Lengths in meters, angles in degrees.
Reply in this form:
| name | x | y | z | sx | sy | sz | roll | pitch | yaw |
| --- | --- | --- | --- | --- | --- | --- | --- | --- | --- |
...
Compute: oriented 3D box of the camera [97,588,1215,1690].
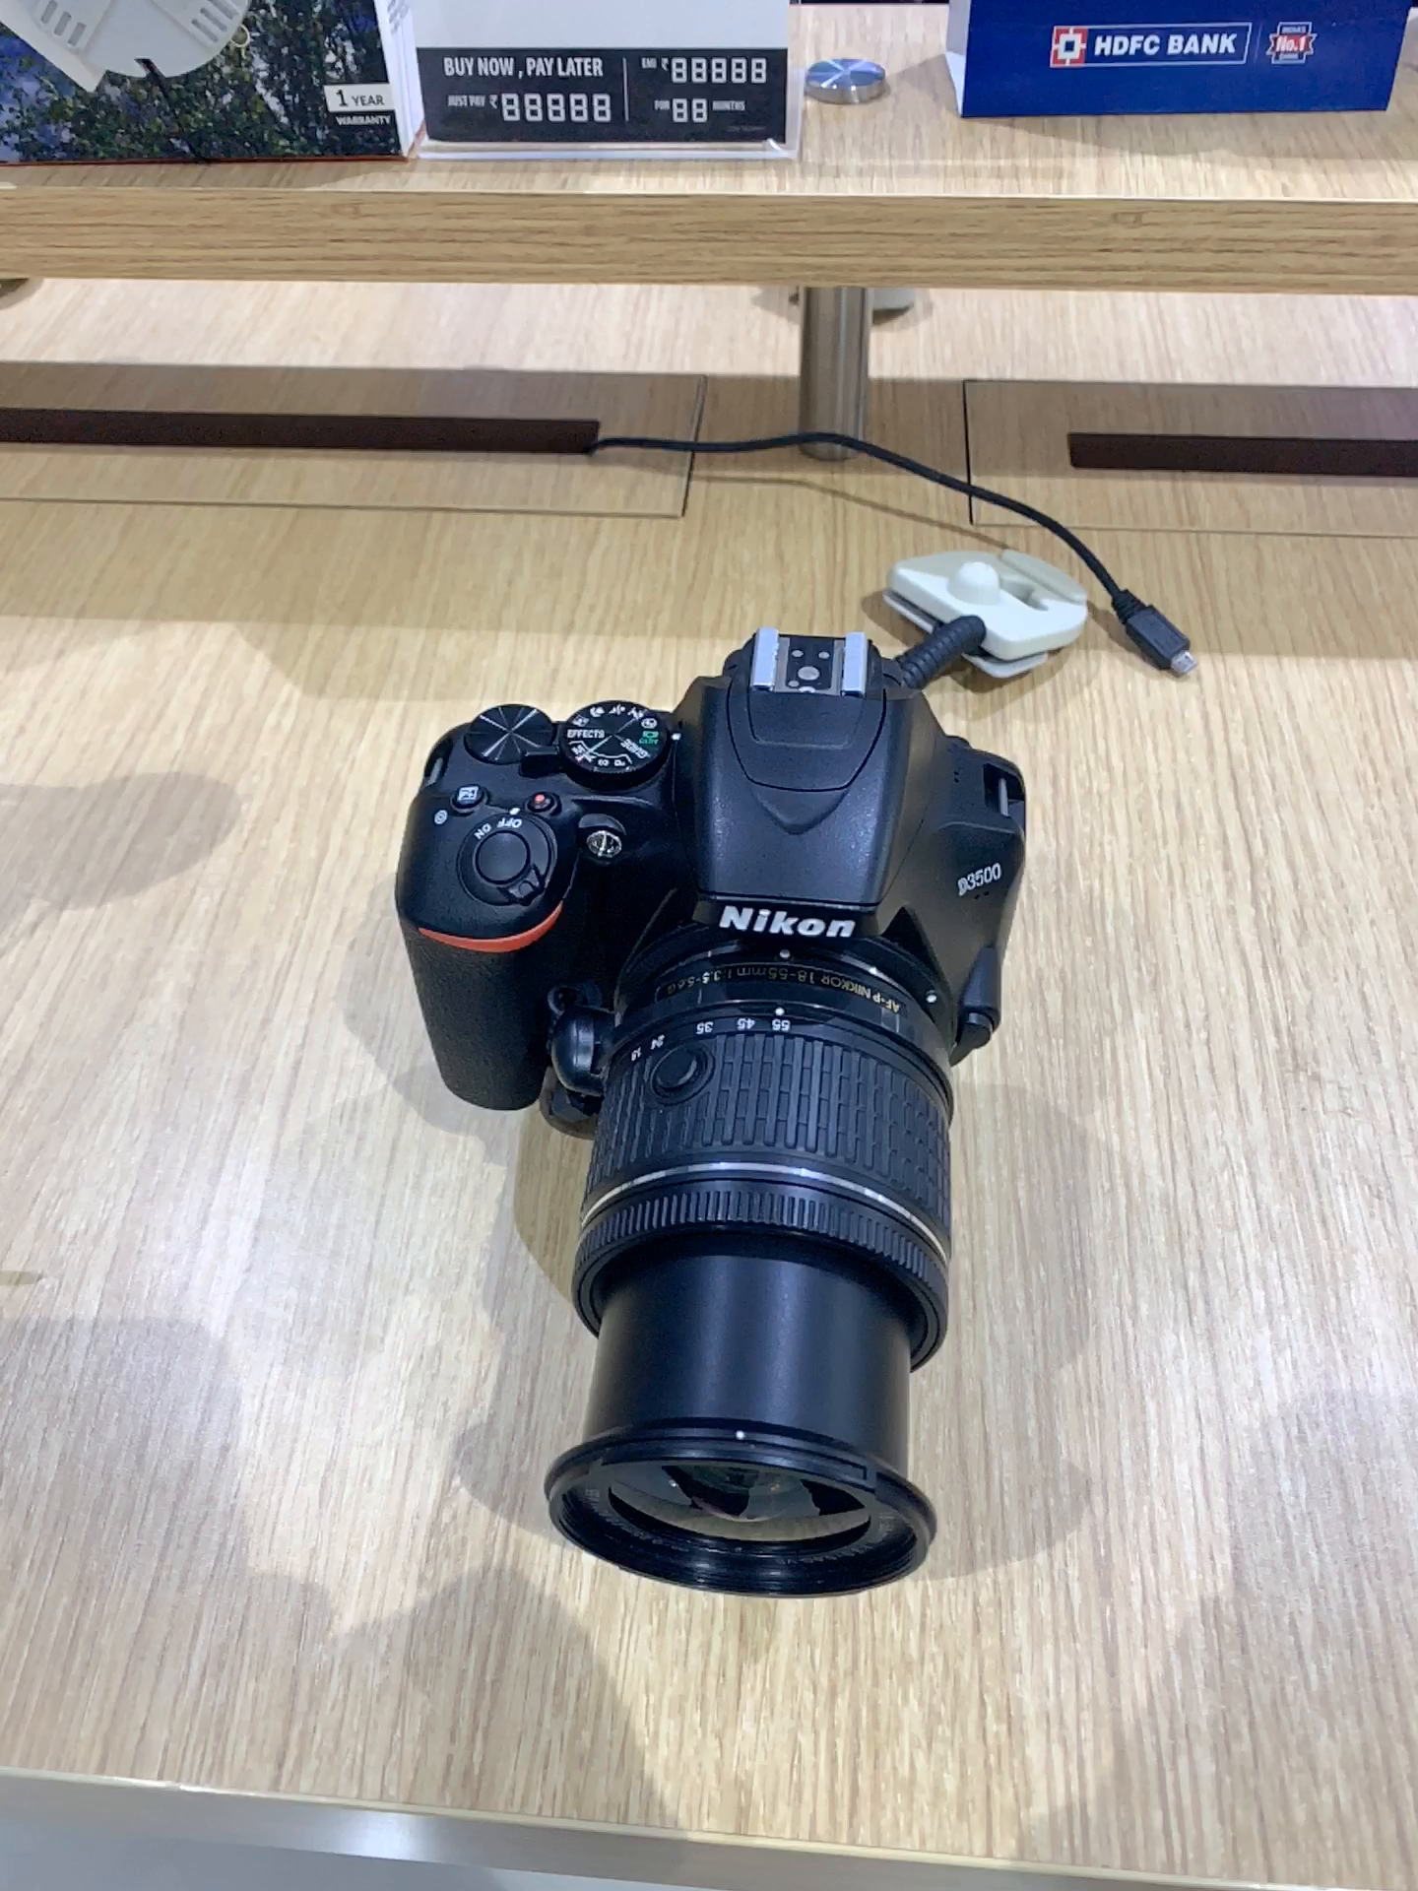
| name | x | y | z | sx | sy | sz | roll | pitch | yaw |
| --- | --- | --- | --- | --- | --- | --- | --- | --- | --- |
| camera | -0.001 | 0.027 | 0.232 | 0.115 | 0.100 | 0.136 | 2 | 50 | 4 |
